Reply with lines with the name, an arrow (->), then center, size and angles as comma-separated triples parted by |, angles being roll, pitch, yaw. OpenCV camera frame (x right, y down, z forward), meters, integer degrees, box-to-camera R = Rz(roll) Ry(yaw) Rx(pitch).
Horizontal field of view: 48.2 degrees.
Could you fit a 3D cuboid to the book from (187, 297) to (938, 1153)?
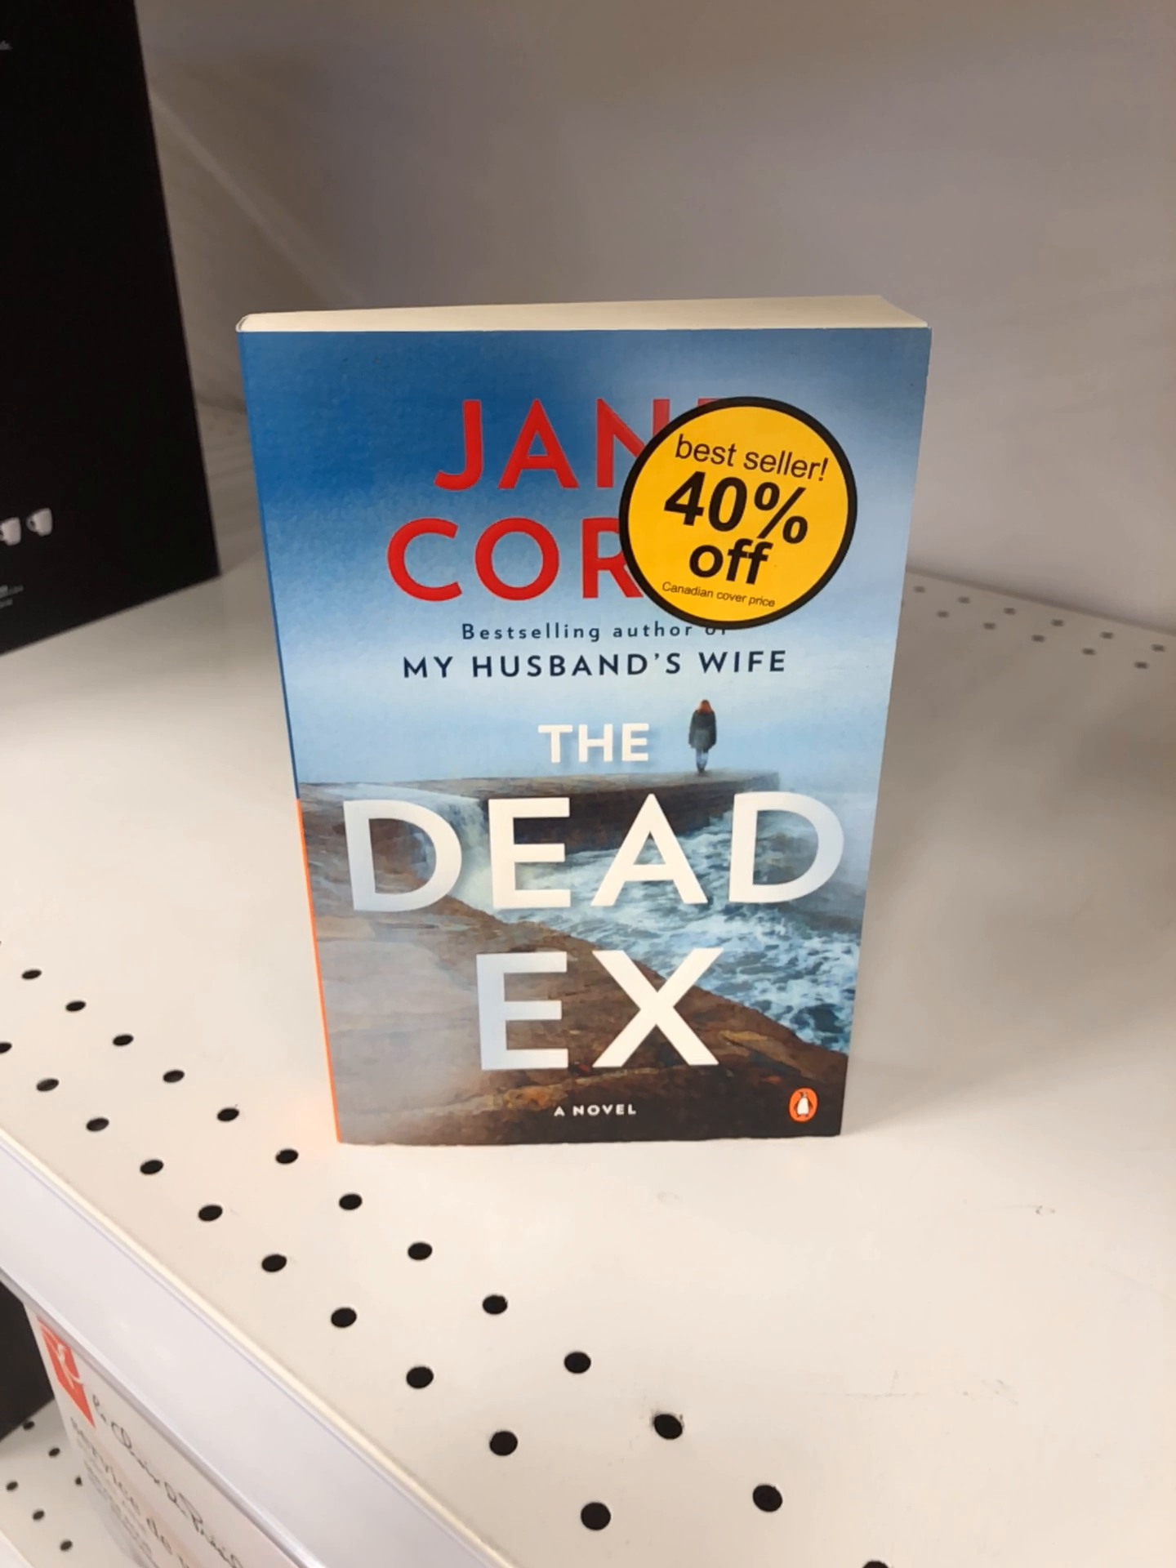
book -> -0.003, -0.004, 0.323 | 0.146, 0.211, 0.040 | -1, 28, 1
